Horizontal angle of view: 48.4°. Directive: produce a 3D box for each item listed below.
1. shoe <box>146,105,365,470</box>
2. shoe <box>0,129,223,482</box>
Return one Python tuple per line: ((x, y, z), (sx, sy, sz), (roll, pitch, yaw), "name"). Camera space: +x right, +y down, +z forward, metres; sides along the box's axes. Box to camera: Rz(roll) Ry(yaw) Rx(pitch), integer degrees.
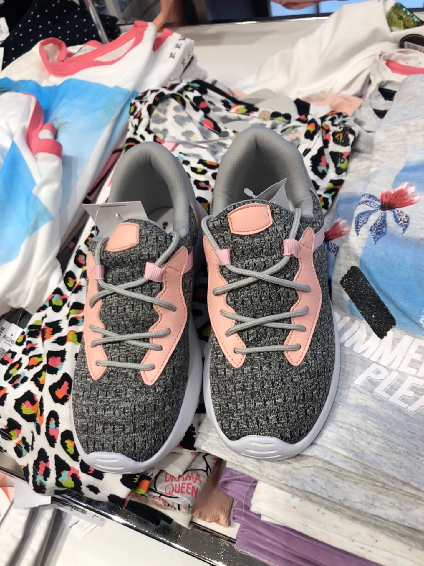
((0.032, 0.002, 0.310), (0.100, 0.099, 0.211), (-5, 58, 12), "shoe")
((-0.059, 0.012, 0.336), (0.100, 0.099, 0.221), (-3, 59, 14), "shoe")
